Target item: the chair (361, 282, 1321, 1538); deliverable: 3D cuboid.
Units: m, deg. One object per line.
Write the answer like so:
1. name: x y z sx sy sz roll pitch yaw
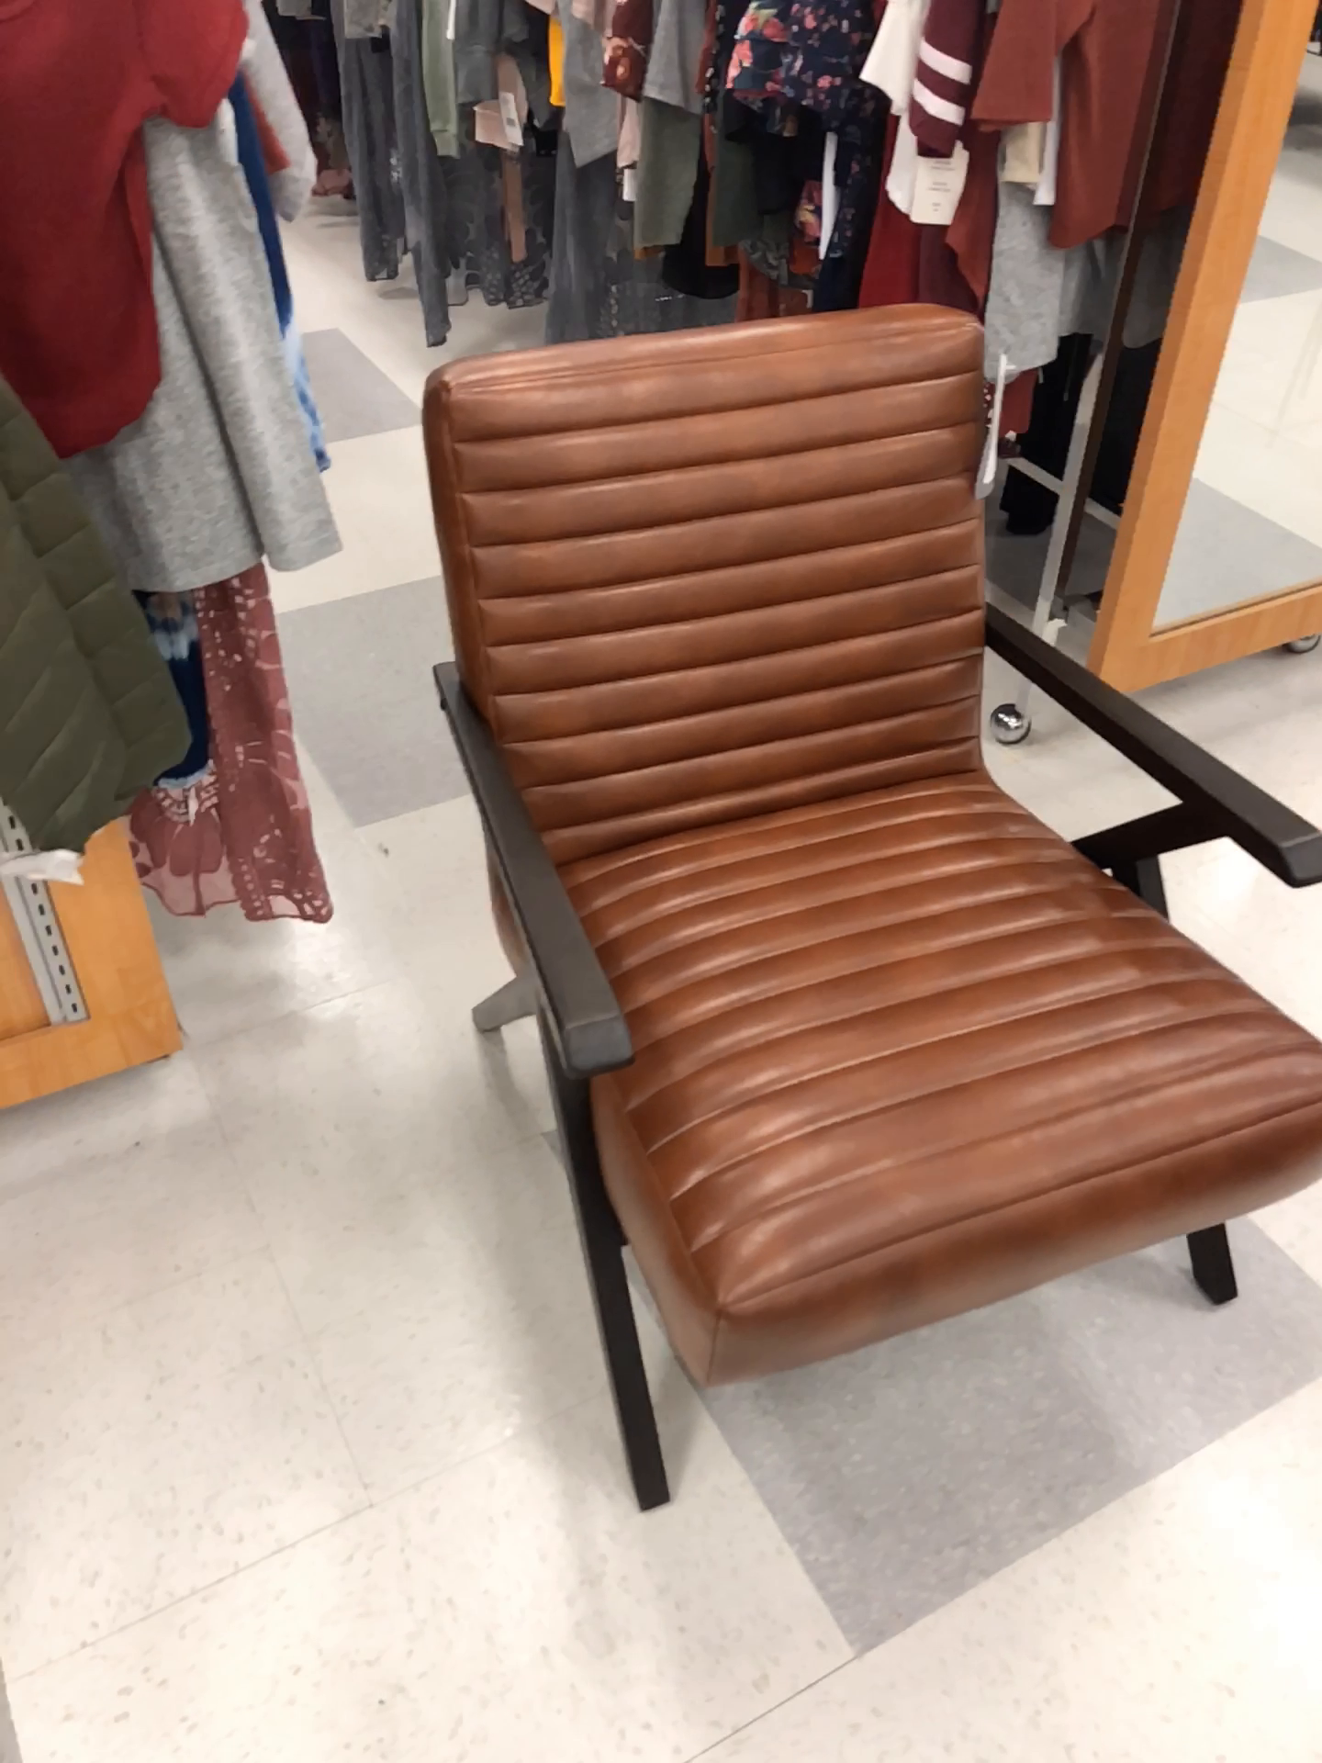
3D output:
1. chair: 0.176 -0.013 1.310 0.676 0.756 0.680 -13 42 -16
